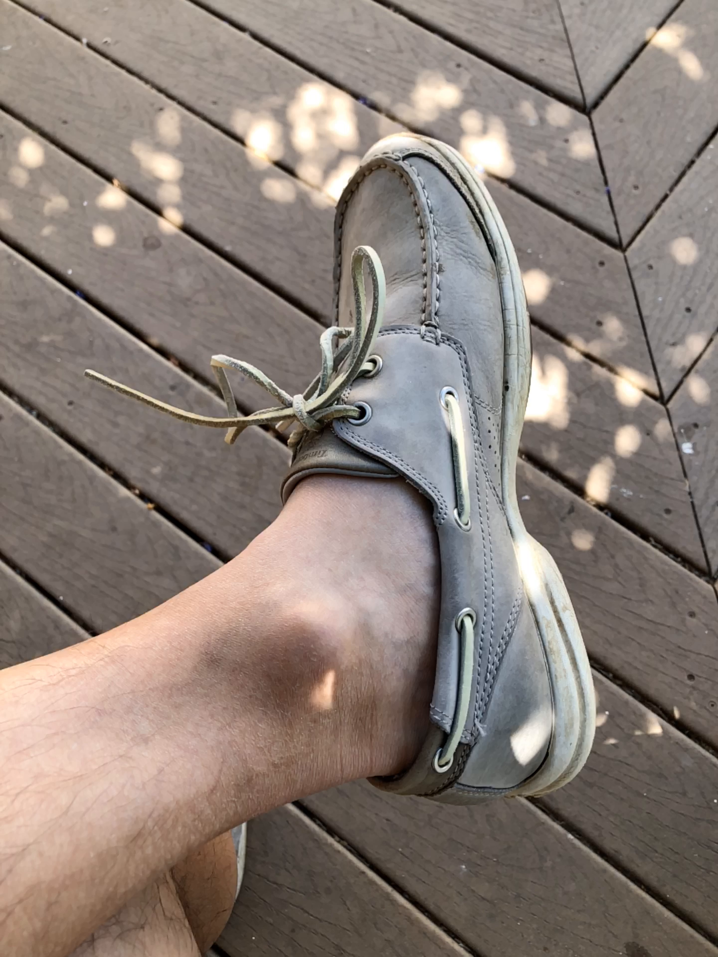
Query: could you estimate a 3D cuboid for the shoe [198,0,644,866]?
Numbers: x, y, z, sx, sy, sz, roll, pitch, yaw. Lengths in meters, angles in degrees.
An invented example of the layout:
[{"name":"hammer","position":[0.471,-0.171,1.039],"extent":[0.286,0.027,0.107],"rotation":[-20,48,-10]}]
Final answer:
[{"name":"shoe","position":[0.013,-0.018,0.337],"extent":[0.106,0.113,0.303],"rotation":[7,70,-39]}]
